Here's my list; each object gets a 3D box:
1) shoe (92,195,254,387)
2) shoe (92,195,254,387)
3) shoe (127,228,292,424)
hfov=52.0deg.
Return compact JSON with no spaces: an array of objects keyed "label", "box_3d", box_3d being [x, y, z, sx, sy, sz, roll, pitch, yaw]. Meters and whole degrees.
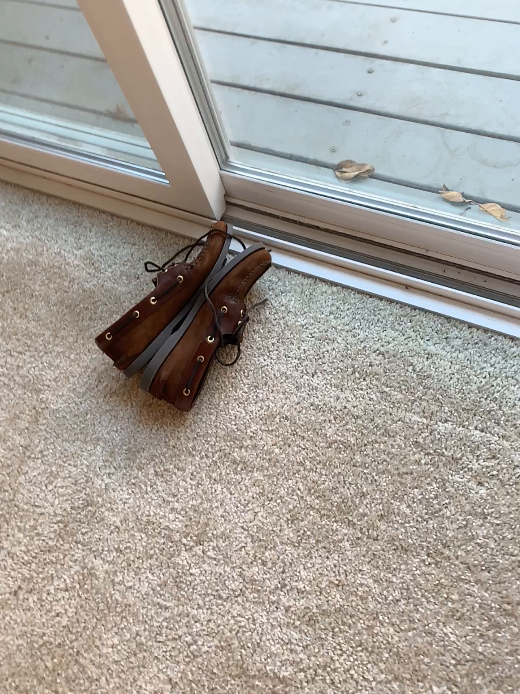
[{"label":"shoe","box_3d":[-0.130,-0.084,0.837,0.090,0.110,0.280,34,76,0]},{"label":"shoe","box_3d":[-0.130,-0.084,0.837,0.090,0.110,0.280,34,76,0]},{"label":"shoe","box_3d":[-0.067,-0.029,0.802,0.090,0.110,0.270,33,77,9]}]
